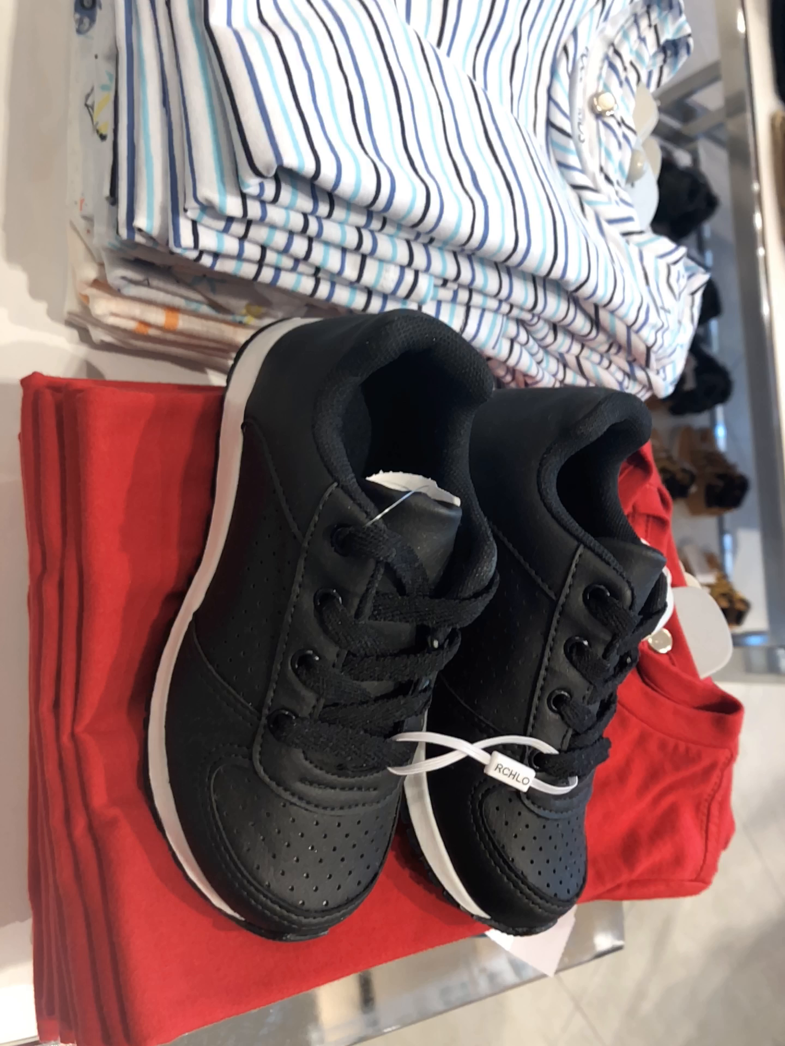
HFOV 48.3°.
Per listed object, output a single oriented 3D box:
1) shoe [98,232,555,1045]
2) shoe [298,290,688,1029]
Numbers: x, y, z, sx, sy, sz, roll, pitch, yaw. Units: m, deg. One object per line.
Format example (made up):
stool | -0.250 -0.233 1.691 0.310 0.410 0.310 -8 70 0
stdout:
shoe | -0.015 0.030 0.242 0.081 0.079 0.180 12 79 -45
shoe | 0.031 0.038 0.285 0.081 0.086 0.190 6 79 -49
